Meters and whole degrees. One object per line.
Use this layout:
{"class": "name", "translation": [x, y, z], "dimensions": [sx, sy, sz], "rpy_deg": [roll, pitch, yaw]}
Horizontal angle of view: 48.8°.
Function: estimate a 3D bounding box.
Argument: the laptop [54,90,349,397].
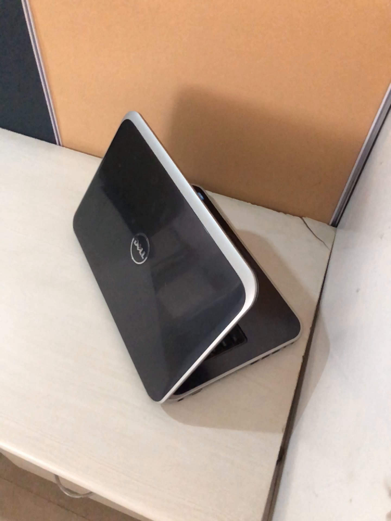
{"class": "laptop", "translation": [-0.016, -0.041, 0.628], "dimensions": [0.240, 0.192, 0.349], "rpy_deg": [-21, 58, -17]}
